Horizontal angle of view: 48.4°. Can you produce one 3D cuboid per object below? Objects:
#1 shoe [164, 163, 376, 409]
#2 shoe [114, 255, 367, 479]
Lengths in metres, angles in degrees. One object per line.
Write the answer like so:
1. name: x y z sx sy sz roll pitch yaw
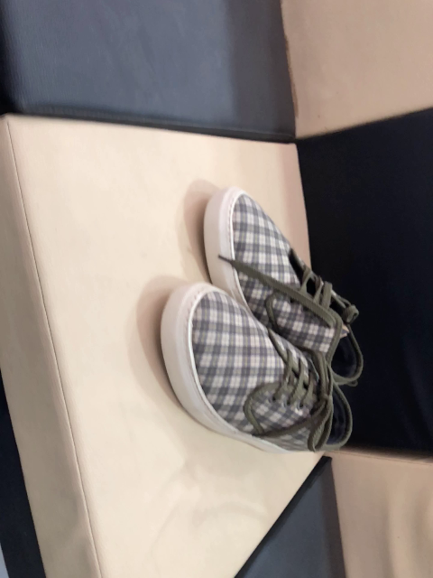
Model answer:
1. shoe: 0.073 0.010 0.503 0.262 0.099 0.100 54 53 -40
2. shoe: 0.045 0.085 0.458 0.272 0.099 0.100 45 59 -45
